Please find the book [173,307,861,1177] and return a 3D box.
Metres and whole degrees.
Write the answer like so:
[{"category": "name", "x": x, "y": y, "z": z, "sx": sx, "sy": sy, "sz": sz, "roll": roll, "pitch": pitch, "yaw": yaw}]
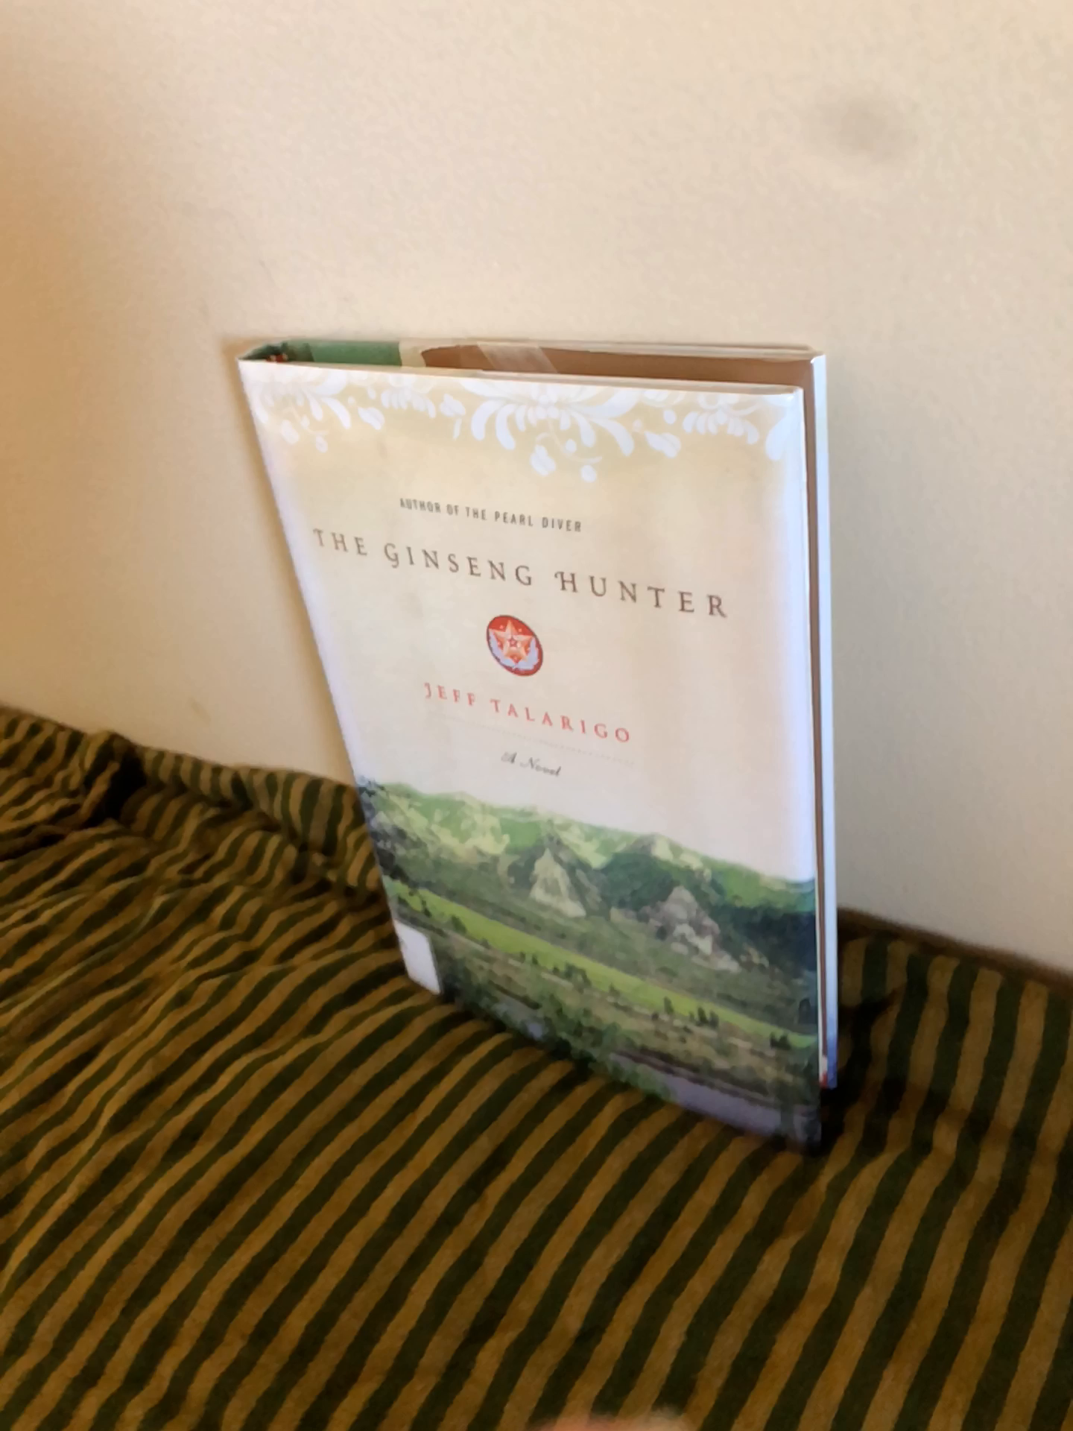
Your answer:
[{"category": "book", "x": 0.003, "y": 0.012, "z": 0.286, "sx": 0.137, "sy": 0.203, "sz": 0.029, "roll": 14, "pitch": 42, "yaw": 29}]
